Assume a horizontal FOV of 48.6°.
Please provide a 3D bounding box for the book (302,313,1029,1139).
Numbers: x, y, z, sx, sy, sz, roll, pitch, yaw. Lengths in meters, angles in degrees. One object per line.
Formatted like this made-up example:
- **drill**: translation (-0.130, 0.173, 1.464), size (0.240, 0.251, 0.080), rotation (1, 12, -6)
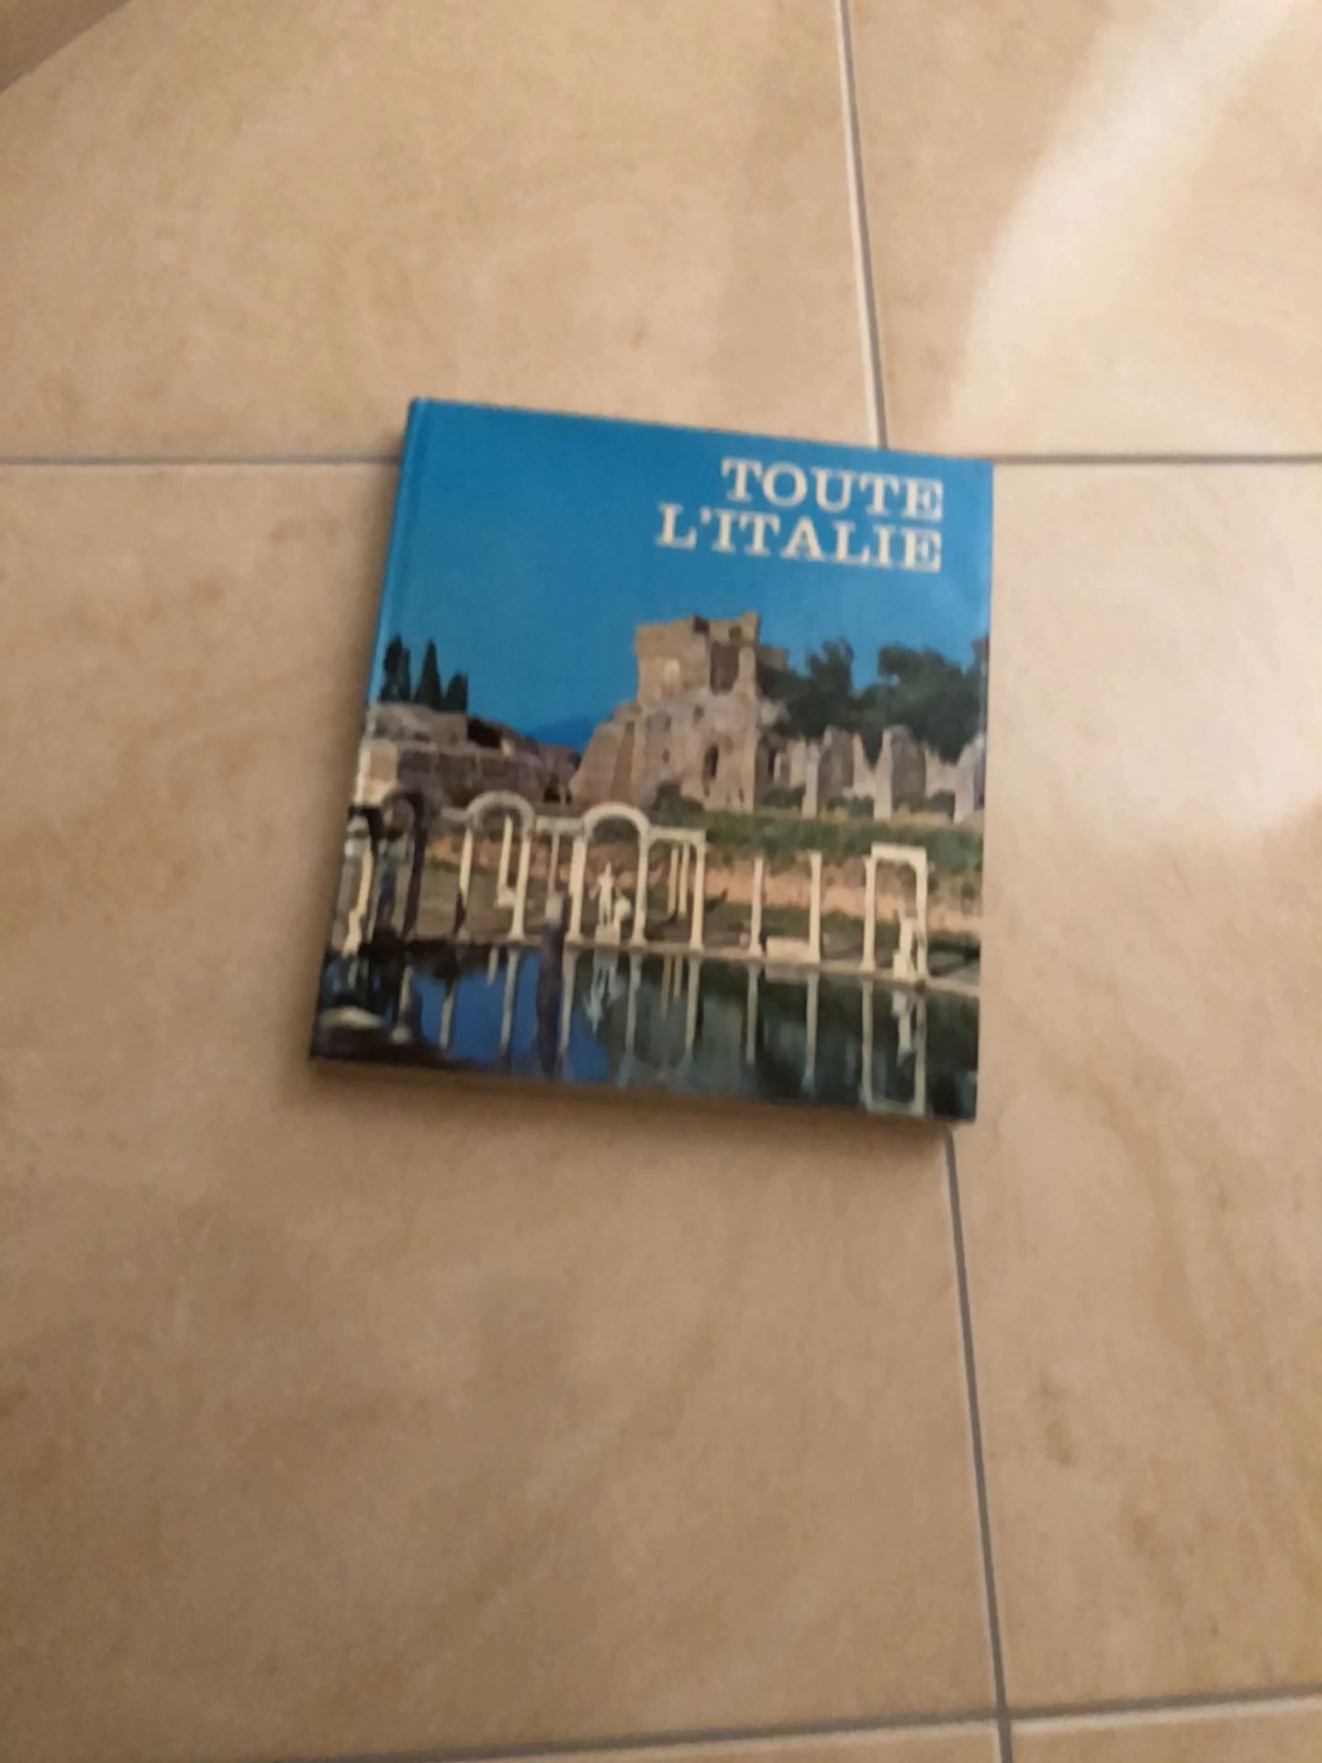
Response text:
- **book**: translation (0.011, -0.062, 0.554), size (0.240, 0.050, 0.291), rotation (6, 74, -2)
